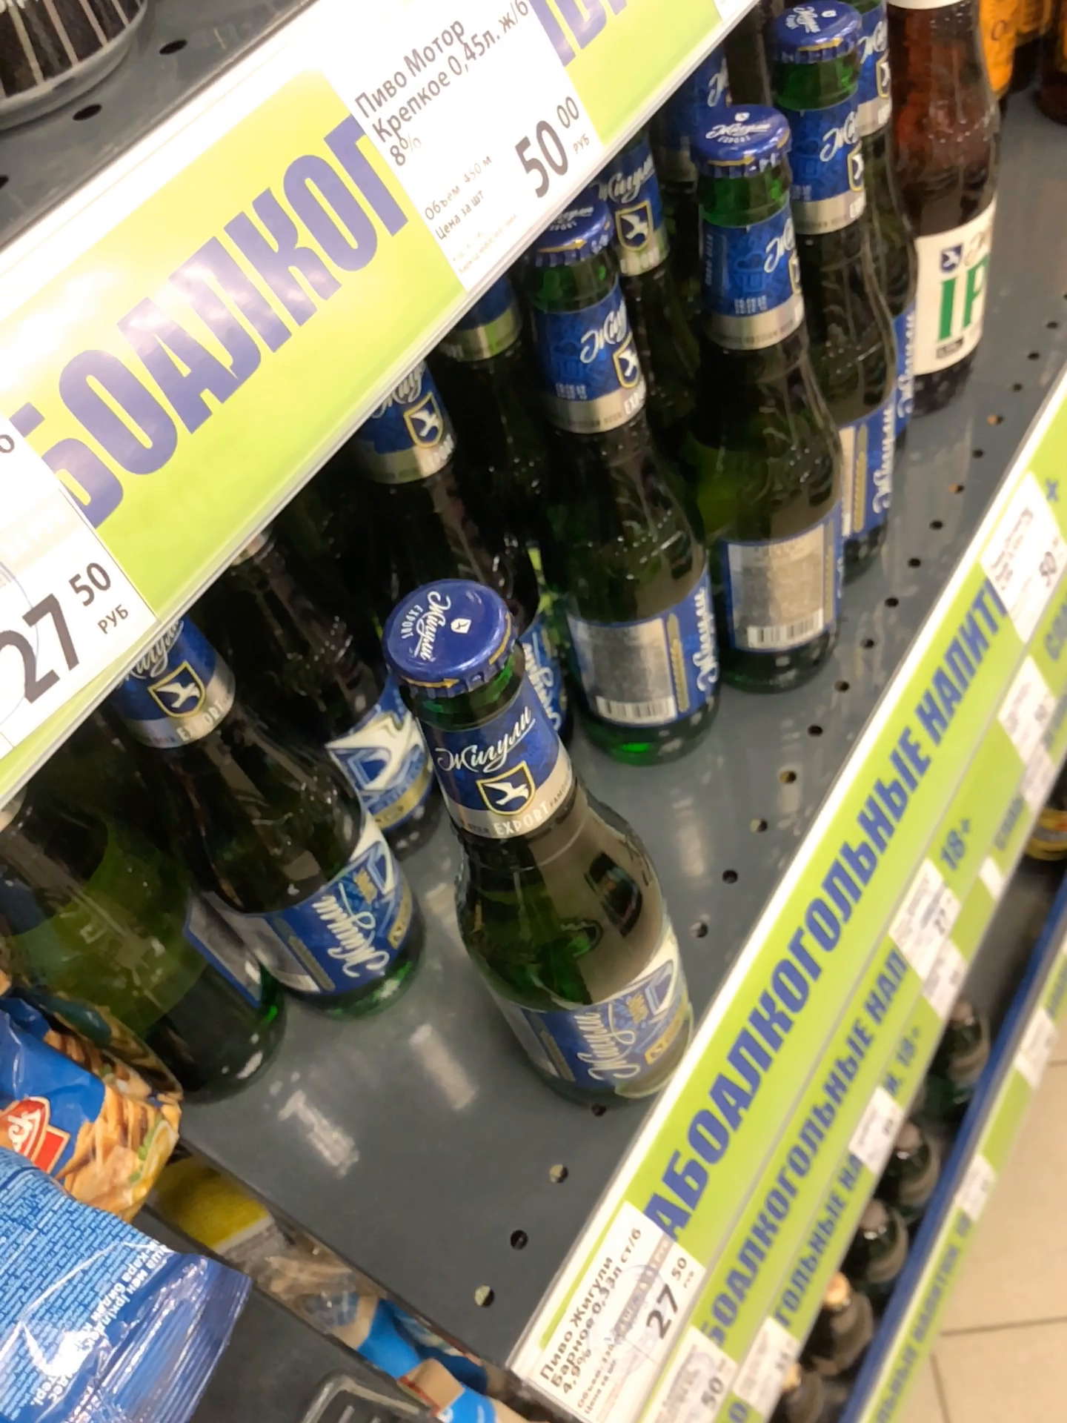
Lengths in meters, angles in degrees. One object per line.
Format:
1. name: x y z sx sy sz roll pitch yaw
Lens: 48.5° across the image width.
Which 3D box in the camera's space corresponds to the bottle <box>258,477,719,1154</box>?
1. bottle: 0.006 0.049 0.338 0.063 0.239 0.063 -6 54 8
